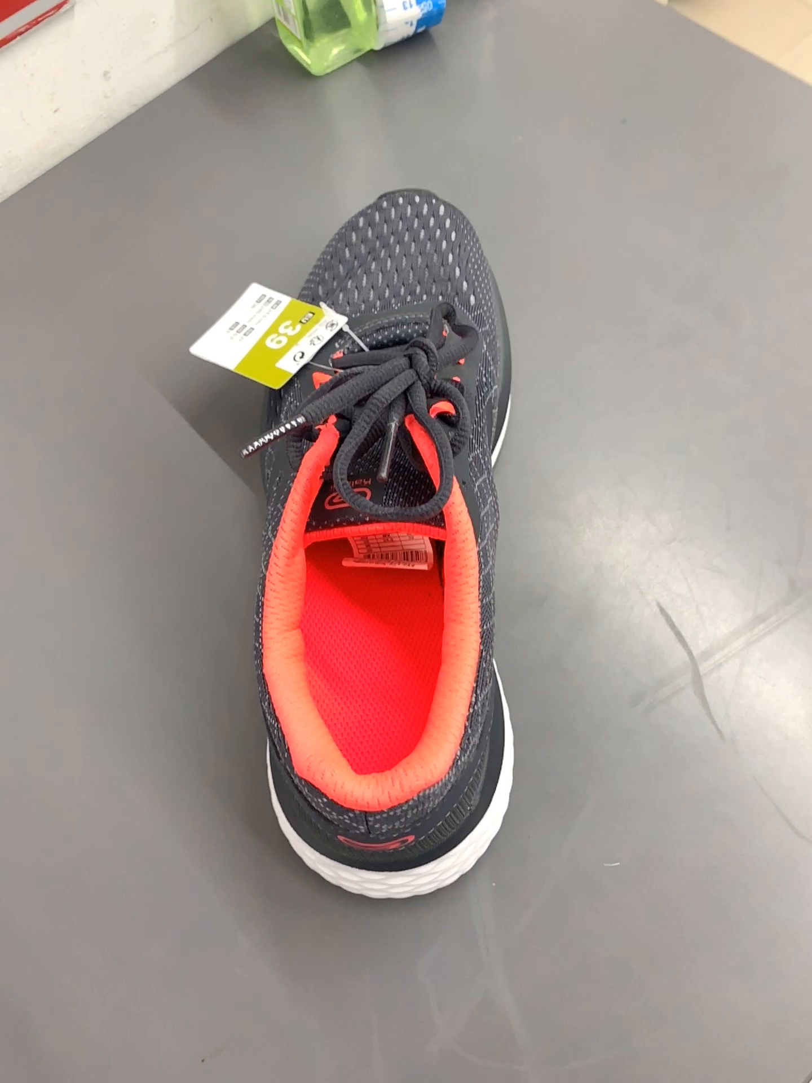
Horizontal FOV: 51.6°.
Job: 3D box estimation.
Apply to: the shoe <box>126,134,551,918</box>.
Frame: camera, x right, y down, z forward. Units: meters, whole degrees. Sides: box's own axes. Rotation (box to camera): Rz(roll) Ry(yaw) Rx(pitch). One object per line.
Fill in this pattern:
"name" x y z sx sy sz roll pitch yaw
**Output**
"shoe" -0.009 -0.008 0.319 0.110 0.110 0.270 0 66 5
